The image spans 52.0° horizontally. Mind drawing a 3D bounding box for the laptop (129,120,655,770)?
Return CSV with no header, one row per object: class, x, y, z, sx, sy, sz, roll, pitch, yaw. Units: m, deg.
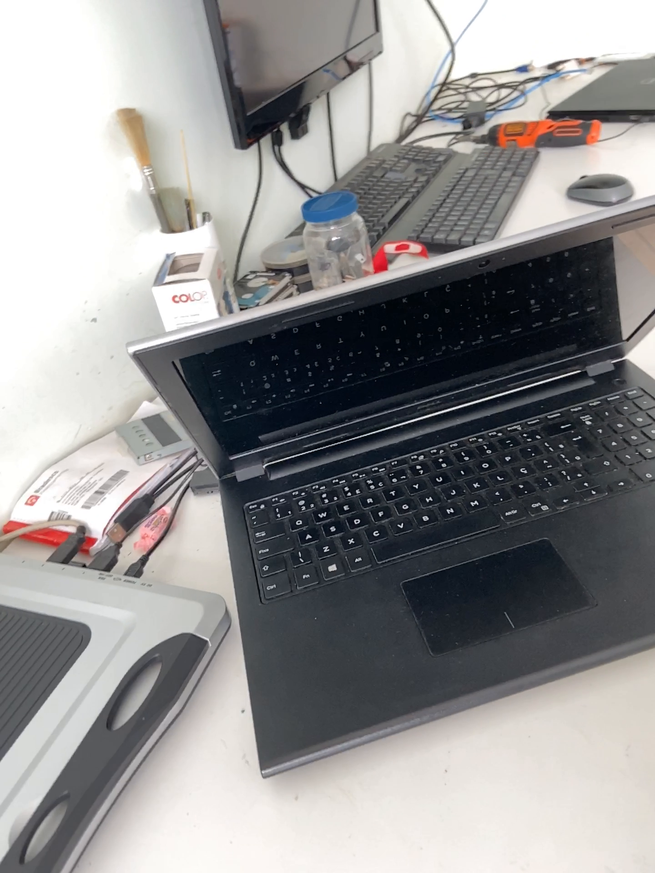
laptop,0.099,-0.027,0.420,0.374,0.204,0.258,-16,35,-6
